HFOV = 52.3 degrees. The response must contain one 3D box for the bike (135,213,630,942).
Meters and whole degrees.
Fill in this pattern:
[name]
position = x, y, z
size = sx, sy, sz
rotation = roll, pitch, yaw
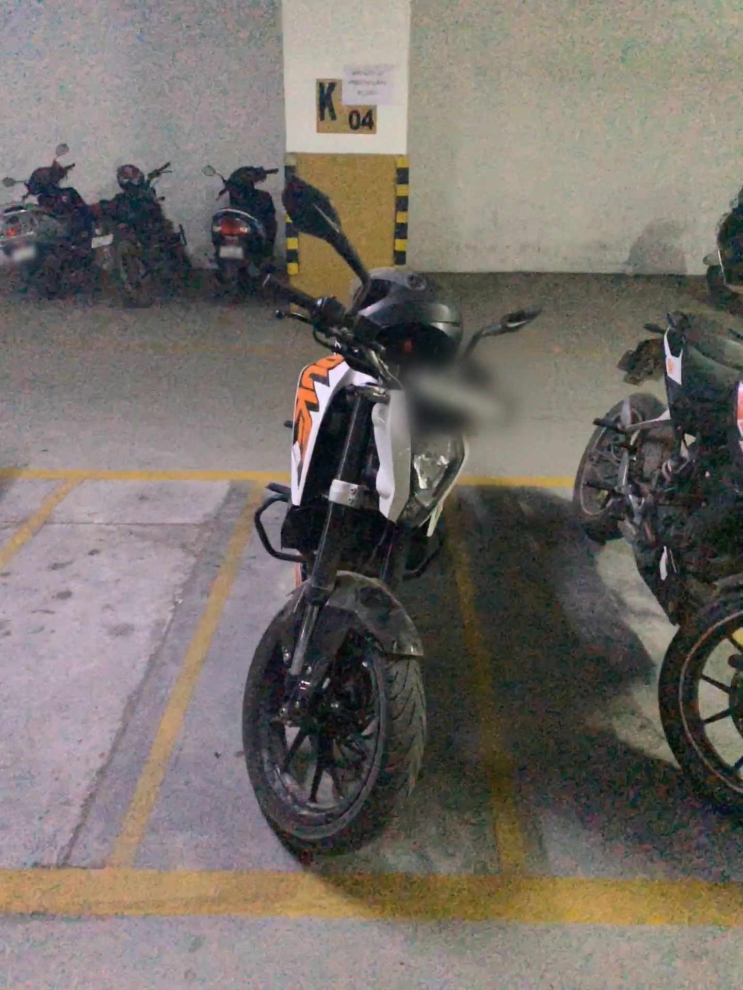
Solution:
[bike]
position = 0.027, -0.028, 2.296
size = 0.802, 1.181, 1.923
rotation = 1, 30, 0
